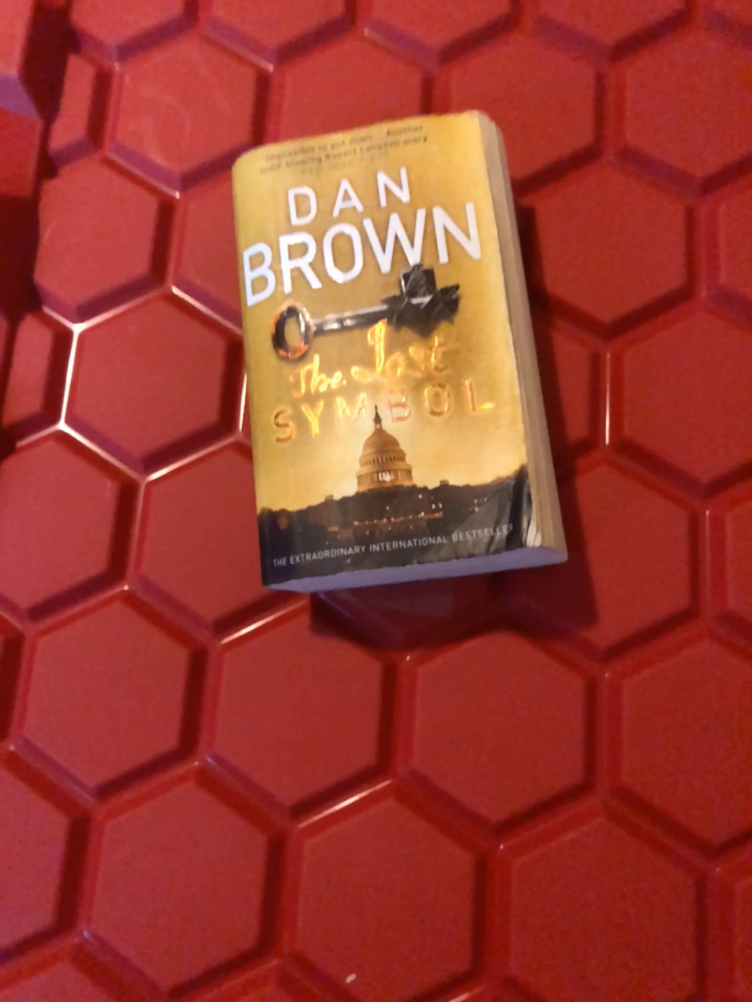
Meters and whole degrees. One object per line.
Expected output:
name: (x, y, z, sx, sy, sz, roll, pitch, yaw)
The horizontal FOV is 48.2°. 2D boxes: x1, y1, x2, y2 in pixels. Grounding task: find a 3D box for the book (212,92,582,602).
book: (0.005, -0.060, 0.342, 0.122, 0.051, 0.183, -7, 77, 7)
